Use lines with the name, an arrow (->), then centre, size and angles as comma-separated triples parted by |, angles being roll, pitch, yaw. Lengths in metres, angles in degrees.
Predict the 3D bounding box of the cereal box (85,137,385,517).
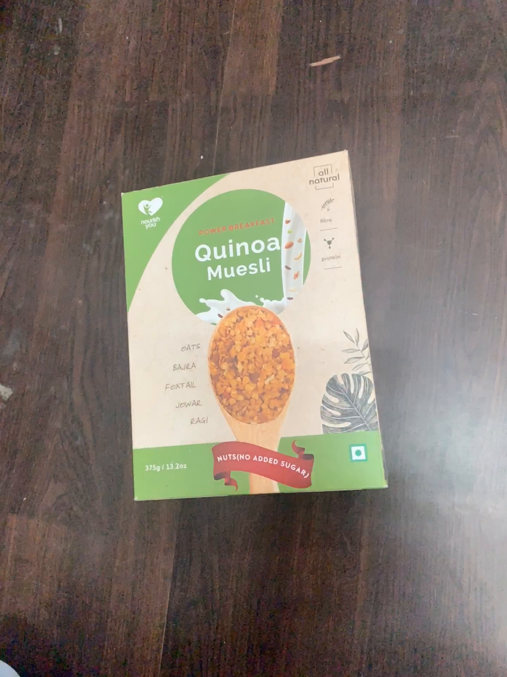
cereal box -> -0.013, 0.000, 0.346 | 0.170, 0.070, 0.210 | -7, 82, 15
